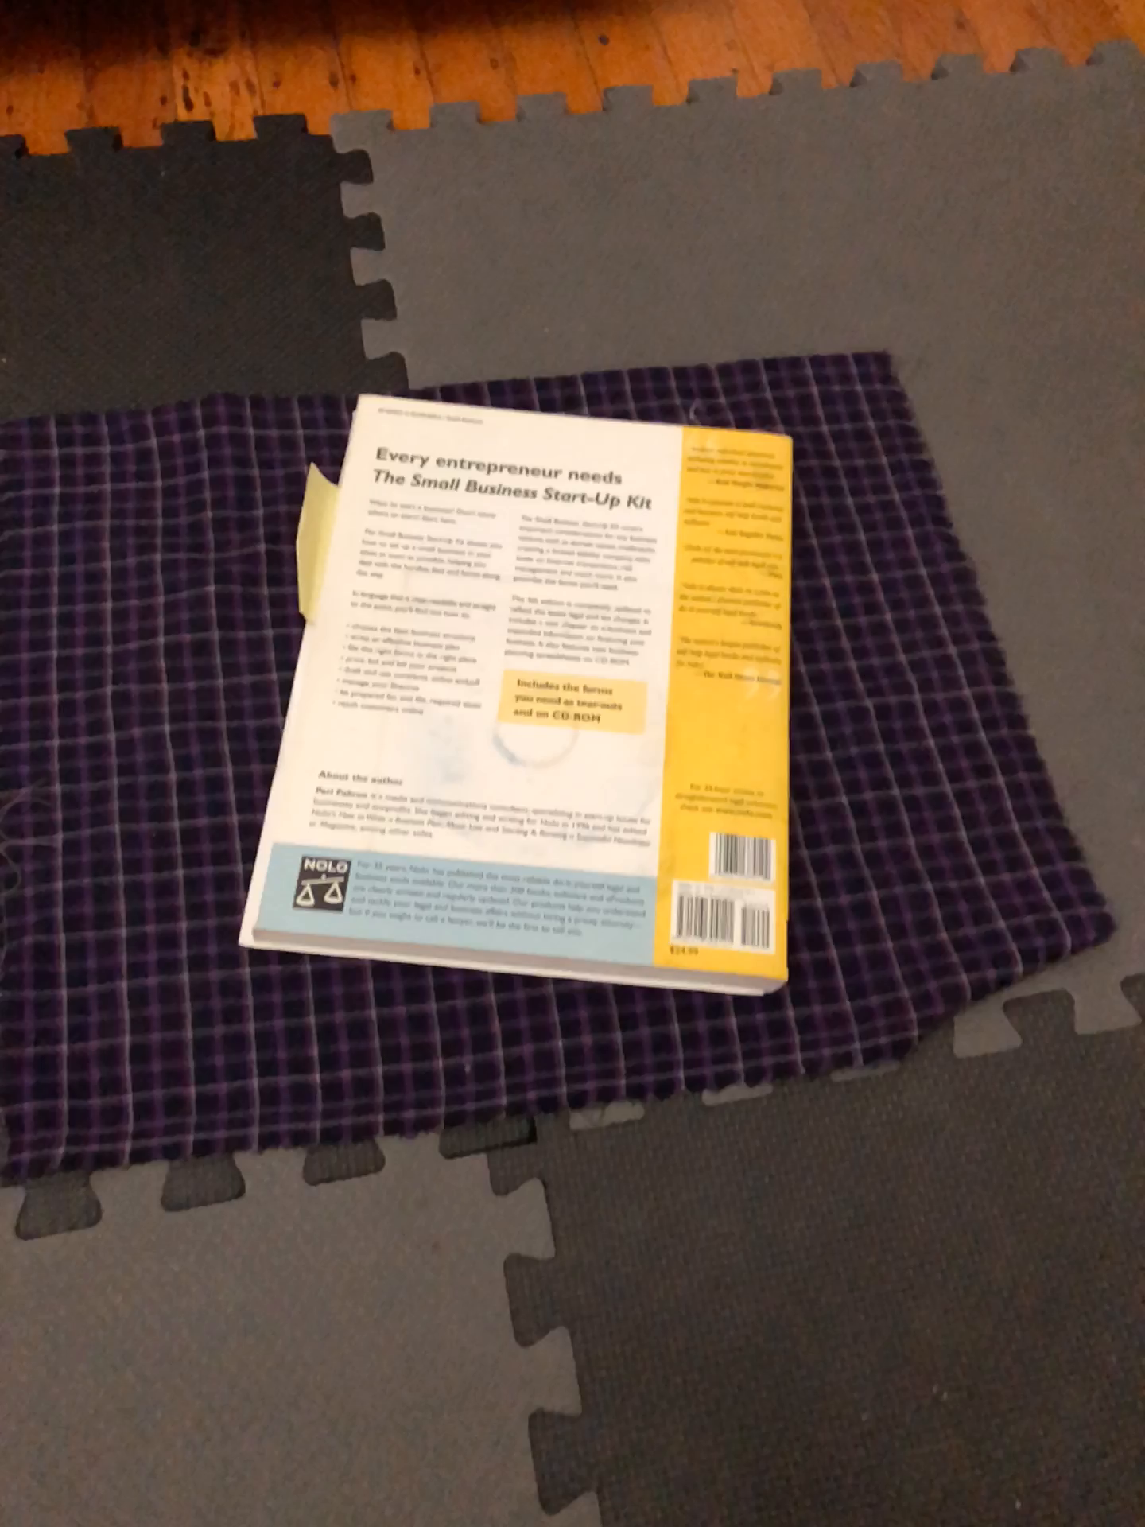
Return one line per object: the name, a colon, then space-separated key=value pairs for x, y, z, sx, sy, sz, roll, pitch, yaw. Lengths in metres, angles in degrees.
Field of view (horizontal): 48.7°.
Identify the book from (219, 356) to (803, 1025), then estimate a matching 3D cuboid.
book: x=-0.012 y=-0.048 z=0.580 sx=0.230 sy=0.030 sz=0.311 roll=6 pitch=63 yaw=-1
